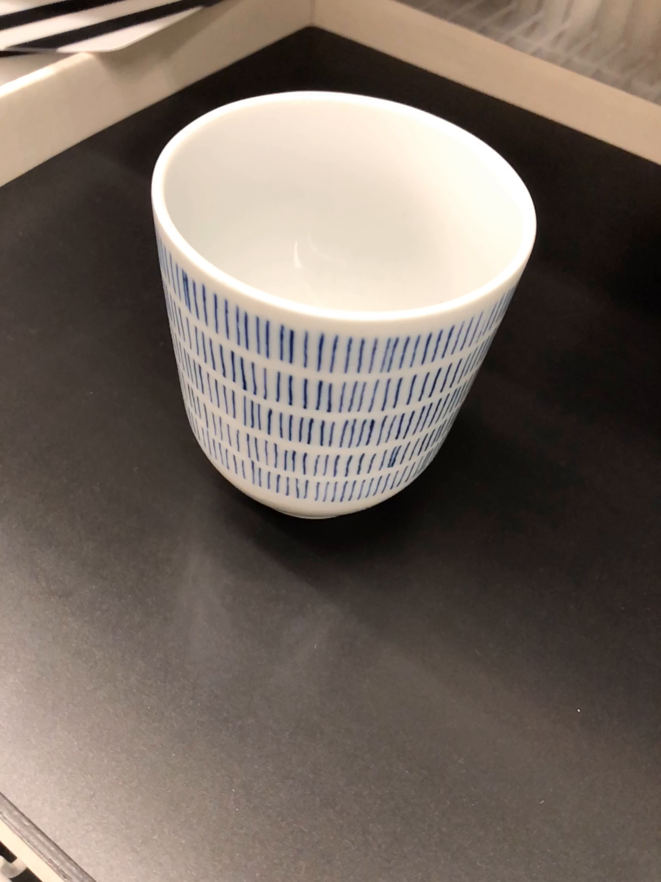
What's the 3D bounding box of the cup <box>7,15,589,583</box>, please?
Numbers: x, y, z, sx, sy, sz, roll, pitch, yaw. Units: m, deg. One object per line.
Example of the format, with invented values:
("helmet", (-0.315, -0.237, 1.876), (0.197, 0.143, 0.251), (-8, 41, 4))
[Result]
("cup", (-0.006, -0.033, 0.163), (0.080, 0.070, 0.070), (31, 53, 18))
